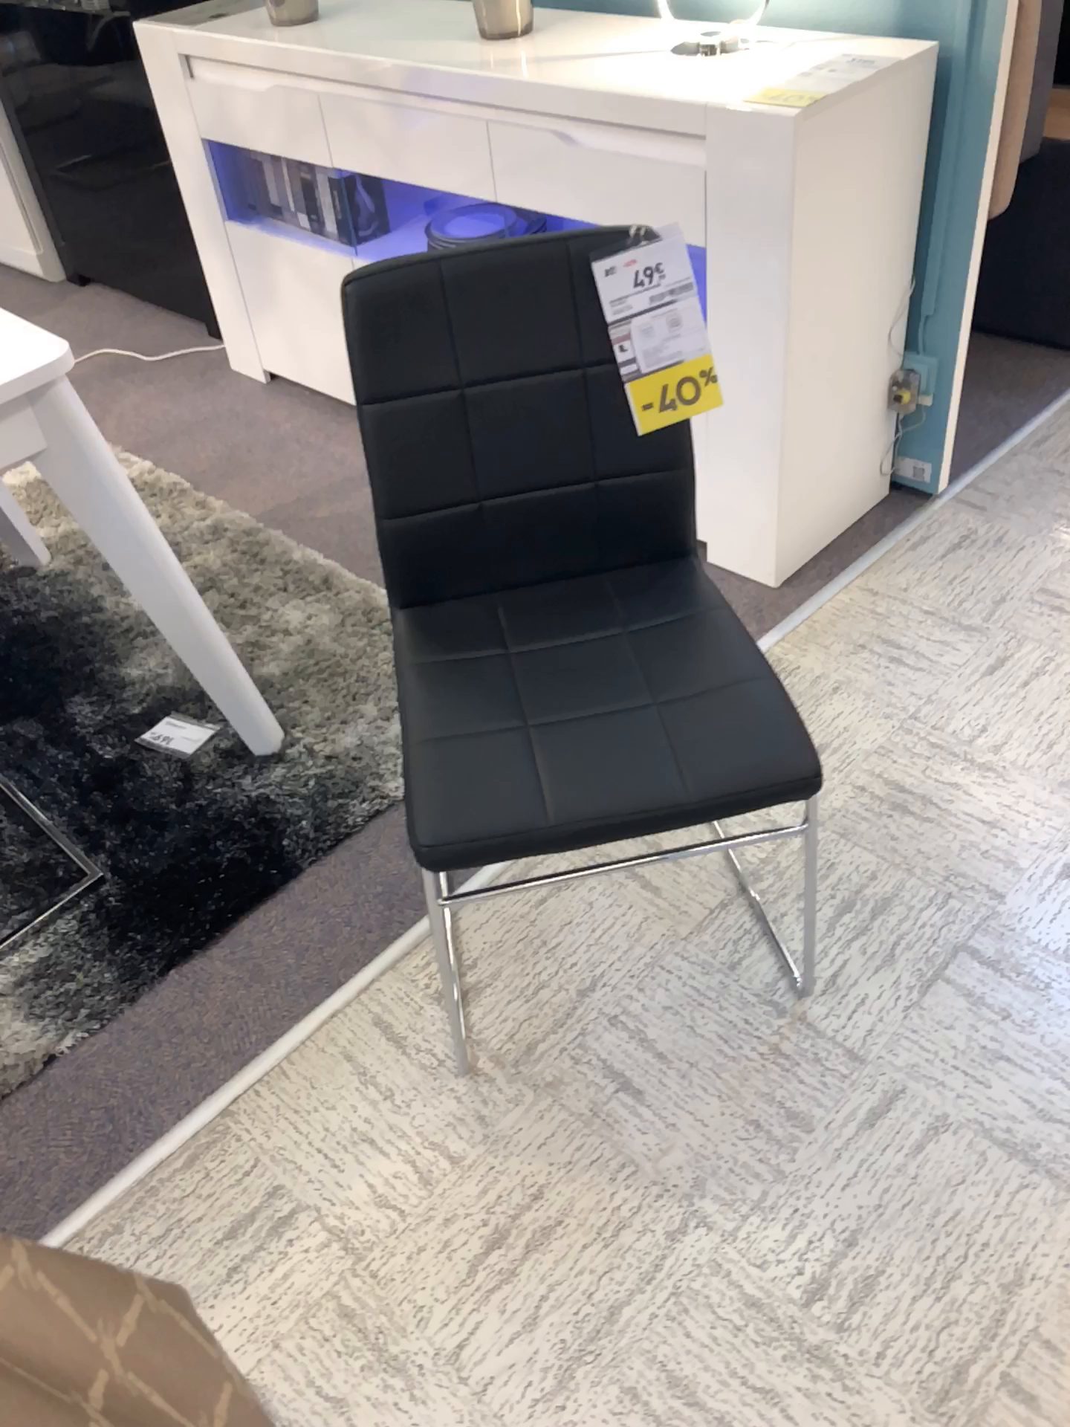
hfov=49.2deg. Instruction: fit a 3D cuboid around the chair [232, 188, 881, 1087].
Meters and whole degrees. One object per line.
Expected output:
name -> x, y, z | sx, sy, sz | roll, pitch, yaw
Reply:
chair -> 0.015, -0.077, 1.398 | 0.520, 0.825, 0.538 | -13, 41, -6
